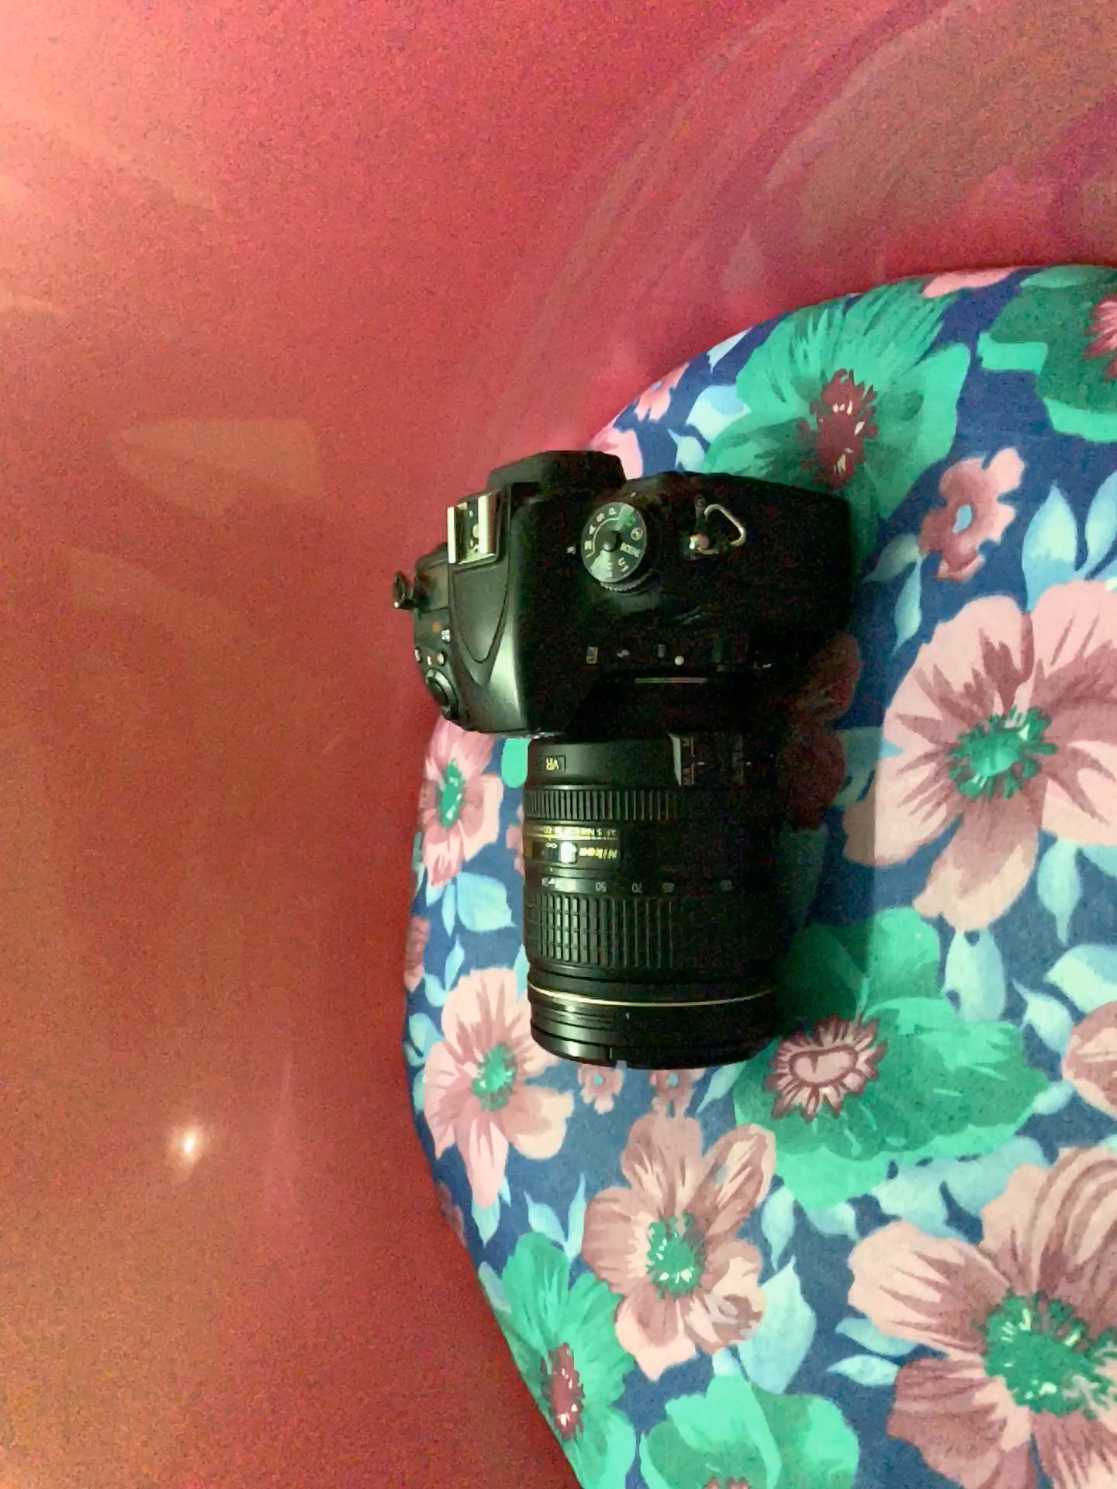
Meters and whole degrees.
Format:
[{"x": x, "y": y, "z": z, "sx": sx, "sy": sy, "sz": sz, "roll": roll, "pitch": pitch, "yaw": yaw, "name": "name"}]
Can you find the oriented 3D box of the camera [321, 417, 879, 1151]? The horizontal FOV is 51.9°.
[{"x": 0.008, "y": 0.013, "z": 0.370, "sx": 0.141, "sy": 0.110, "sz": 0.179, "roll": -2, "pitch": 85, "yaw": 55, "name": "camera"}]
